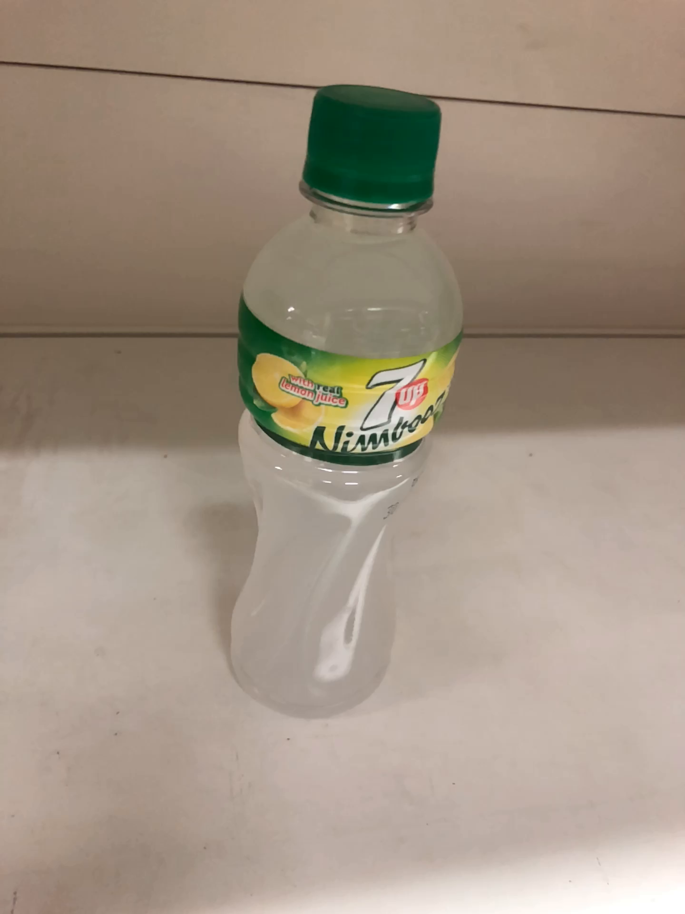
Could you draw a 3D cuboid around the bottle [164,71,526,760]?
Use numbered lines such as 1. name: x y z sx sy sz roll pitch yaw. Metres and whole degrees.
1. bottle: -0.012 -0.004 0.239 0.070 0.199 0.060 -9 35 -23
